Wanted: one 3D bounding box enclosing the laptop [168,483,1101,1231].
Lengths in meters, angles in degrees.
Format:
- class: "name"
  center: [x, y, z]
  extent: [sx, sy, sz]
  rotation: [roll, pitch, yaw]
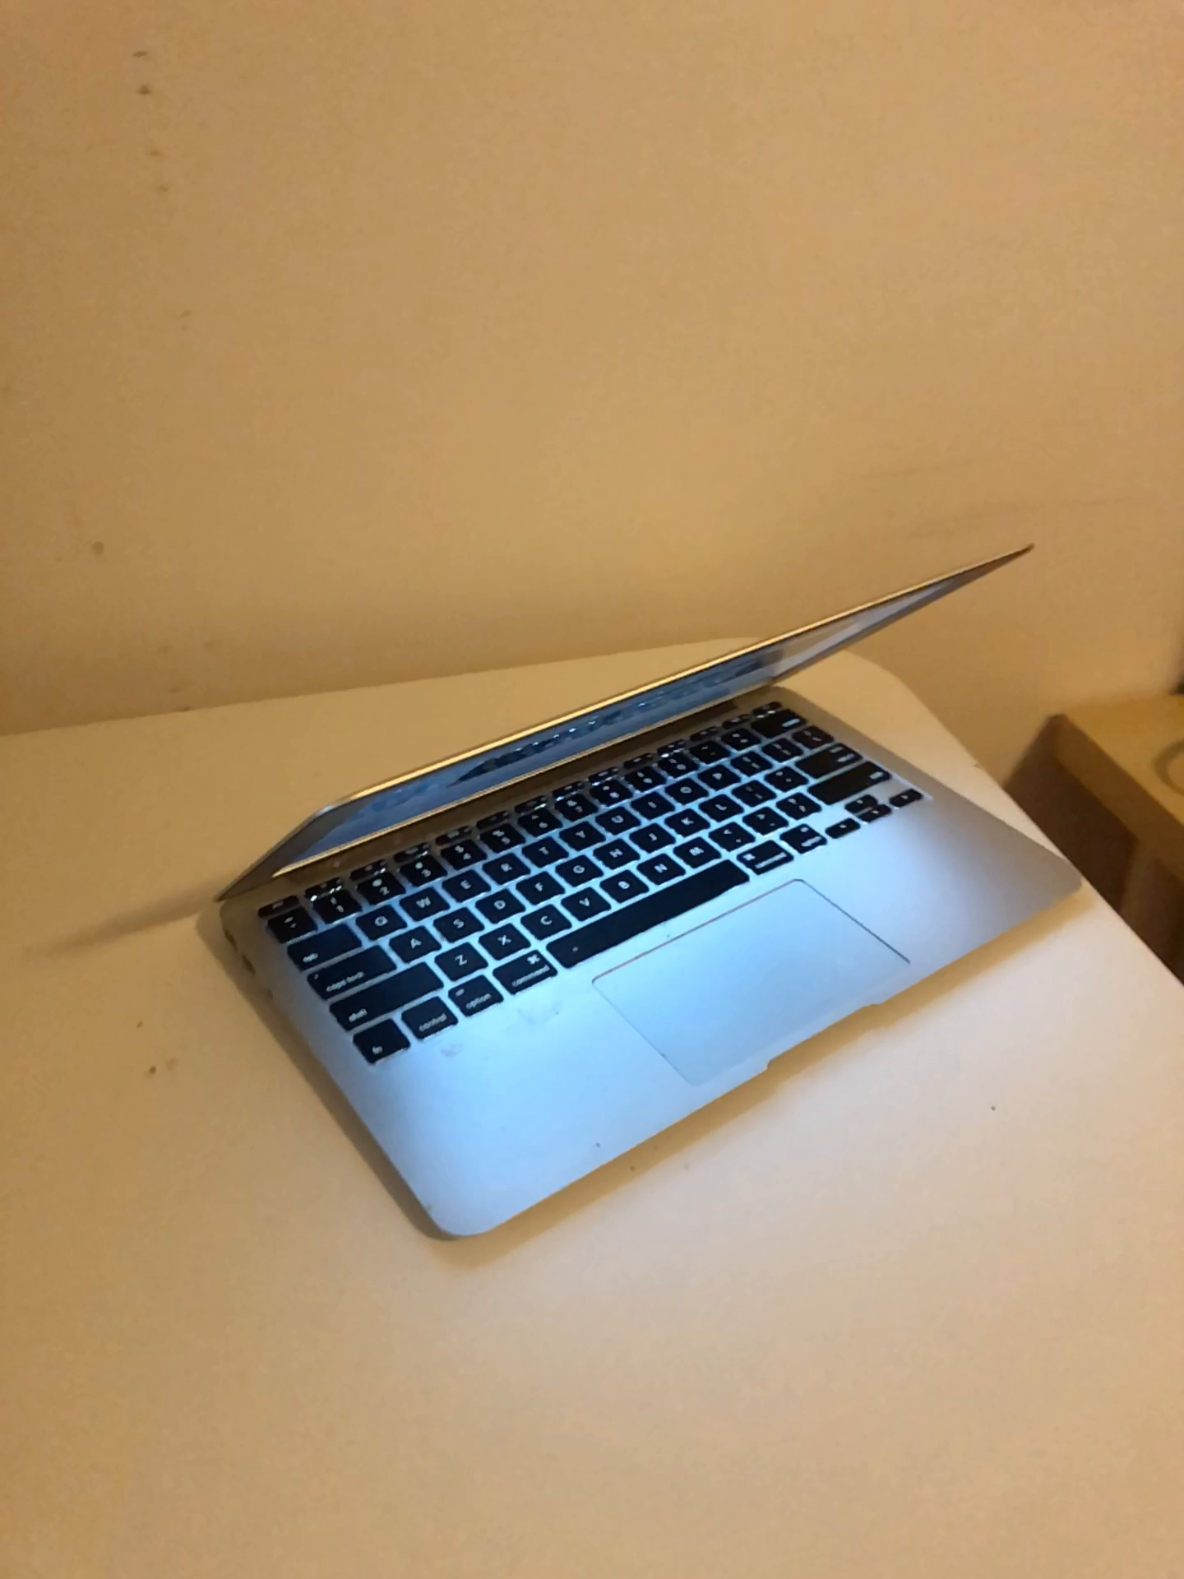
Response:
- class: "laptop"
  center: [0.022, -0.006, 0.483]
  extent: [0.286, 0.108, 0.182]
  rotation: [-22, 40, -32]
